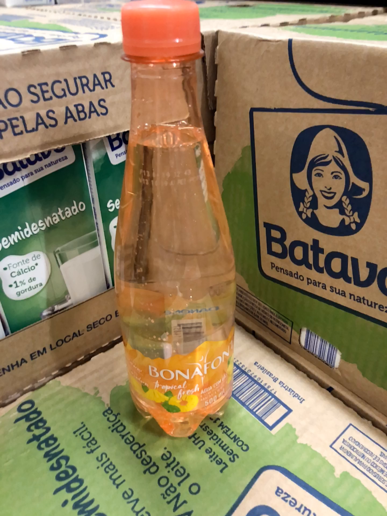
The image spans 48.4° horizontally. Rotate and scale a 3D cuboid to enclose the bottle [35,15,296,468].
[{"bbox_3d":[-0.010,0.008,0.224,0.080,0.228,0.070,-3,34,-4],"label":"bottle"}]
